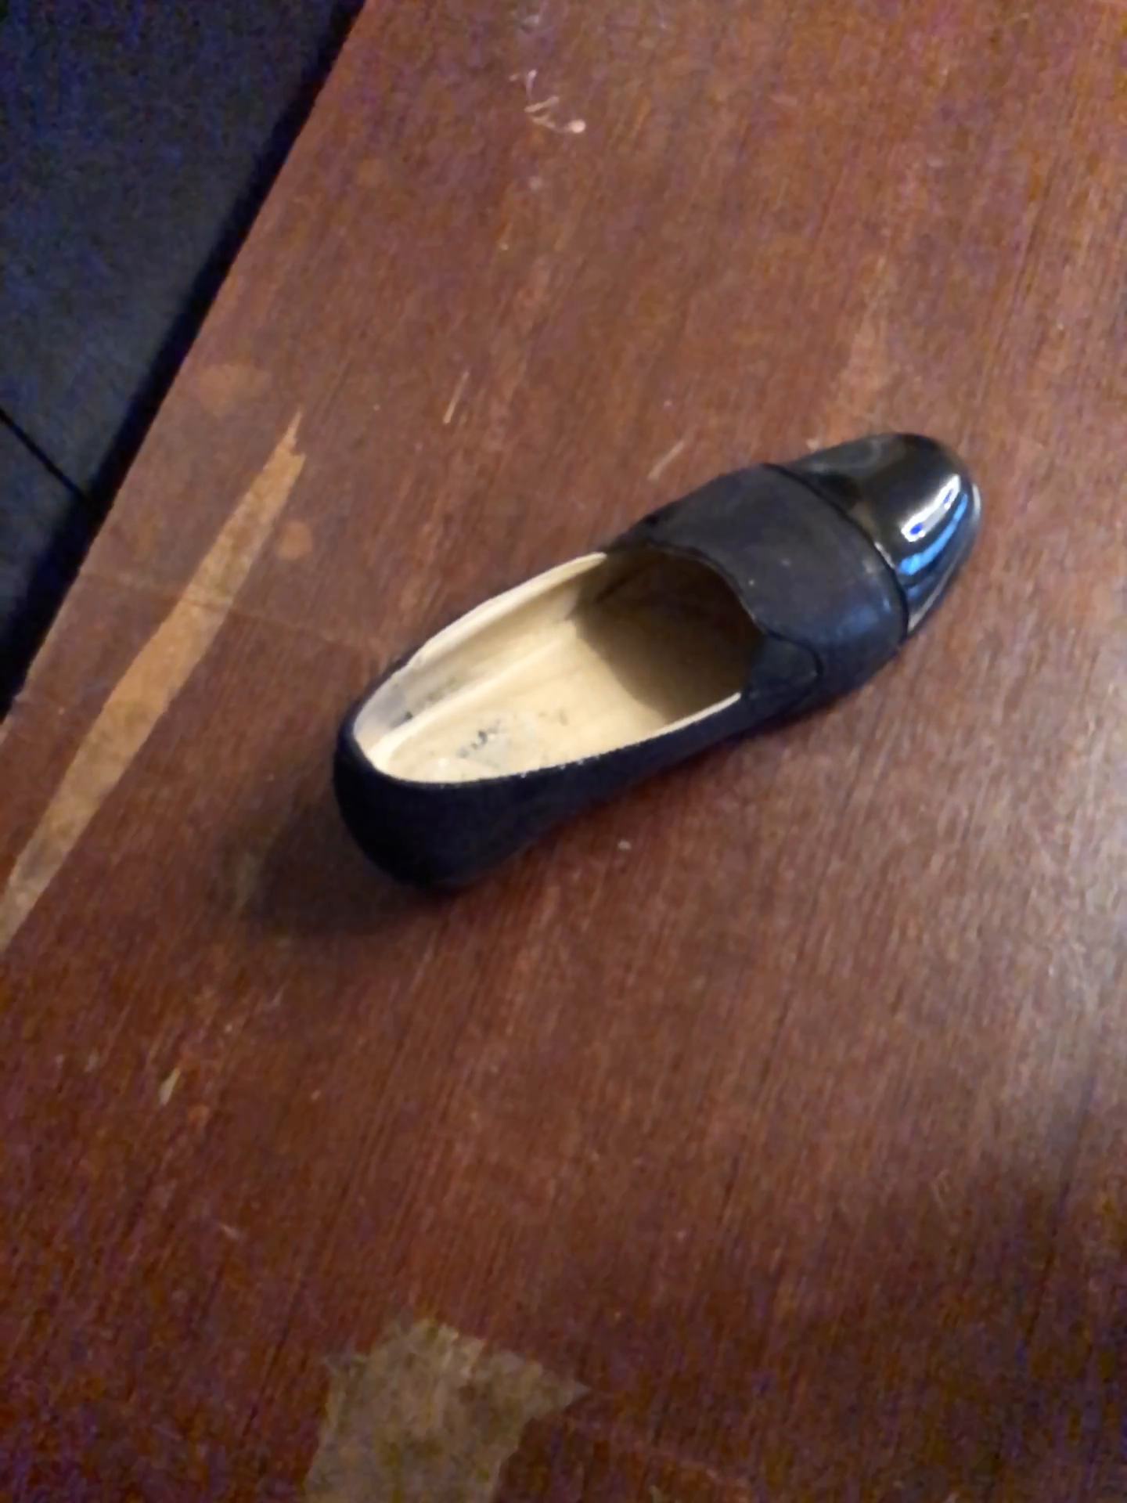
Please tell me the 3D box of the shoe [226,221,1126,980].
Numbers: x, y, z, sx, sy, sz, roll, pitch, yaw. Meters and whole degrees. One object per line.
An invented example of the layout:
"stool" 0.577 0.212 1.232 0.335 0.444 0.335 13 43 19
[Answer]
"shoe" 0.035 -0.040 0.383 0.235 0.090 0.089 -33 70 -4
